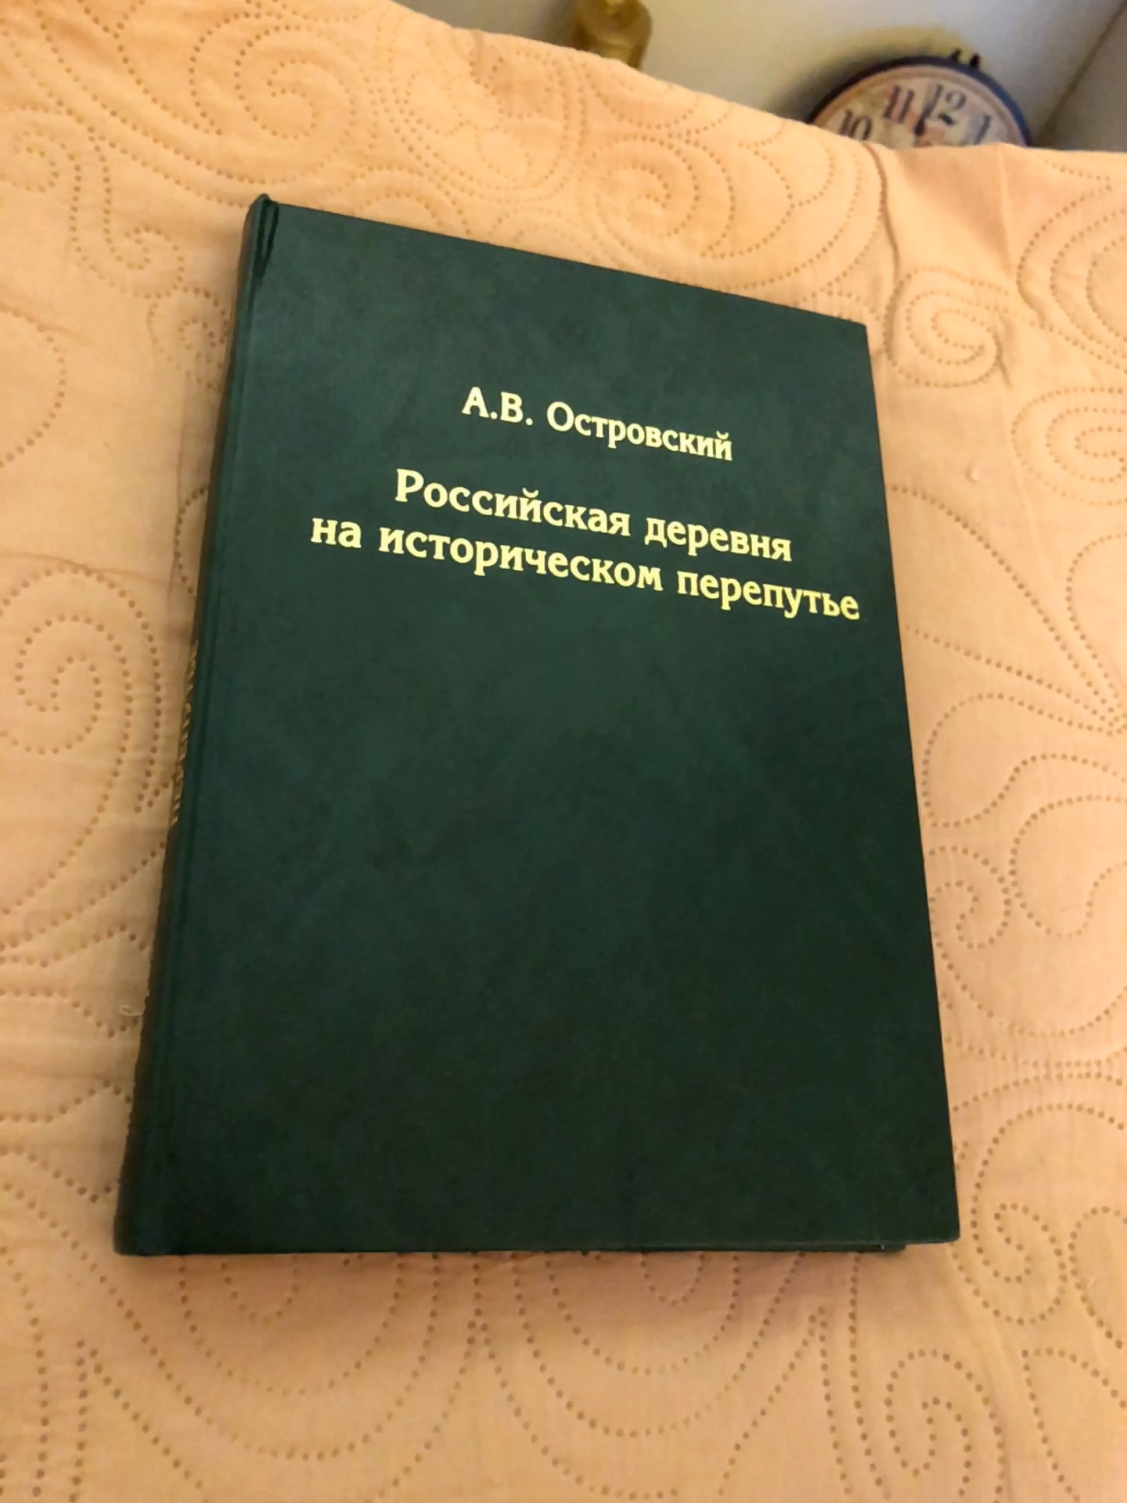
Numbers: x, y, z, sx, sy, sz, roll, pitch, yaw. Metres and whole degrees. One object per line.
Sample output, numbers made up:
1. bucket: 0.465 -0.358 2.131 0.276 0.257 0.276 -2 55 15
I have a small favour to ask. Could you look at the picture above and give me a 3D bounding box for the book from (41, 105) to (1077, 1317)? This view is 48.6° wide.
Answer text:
1. book: 0.004 -0.013 0.270 0.180 0.040 0.241 6 69 -14
